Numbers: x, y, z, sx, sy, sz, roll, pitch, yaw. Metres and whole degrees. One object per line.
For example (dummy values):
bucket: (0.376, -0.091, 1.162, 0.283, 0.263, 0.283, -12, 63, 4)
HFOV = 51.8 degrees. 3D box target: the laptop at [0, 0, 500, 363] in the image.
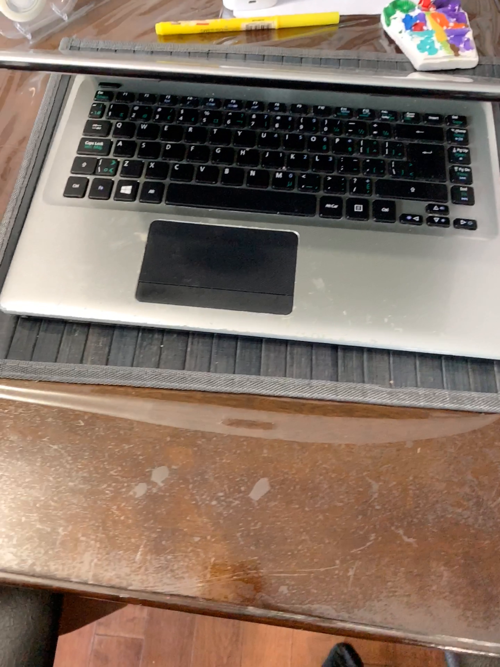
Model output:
laptop: (0.012, -0.135, 0.319, 0.344, 0.145, 0.236, 5, 65, 3)
